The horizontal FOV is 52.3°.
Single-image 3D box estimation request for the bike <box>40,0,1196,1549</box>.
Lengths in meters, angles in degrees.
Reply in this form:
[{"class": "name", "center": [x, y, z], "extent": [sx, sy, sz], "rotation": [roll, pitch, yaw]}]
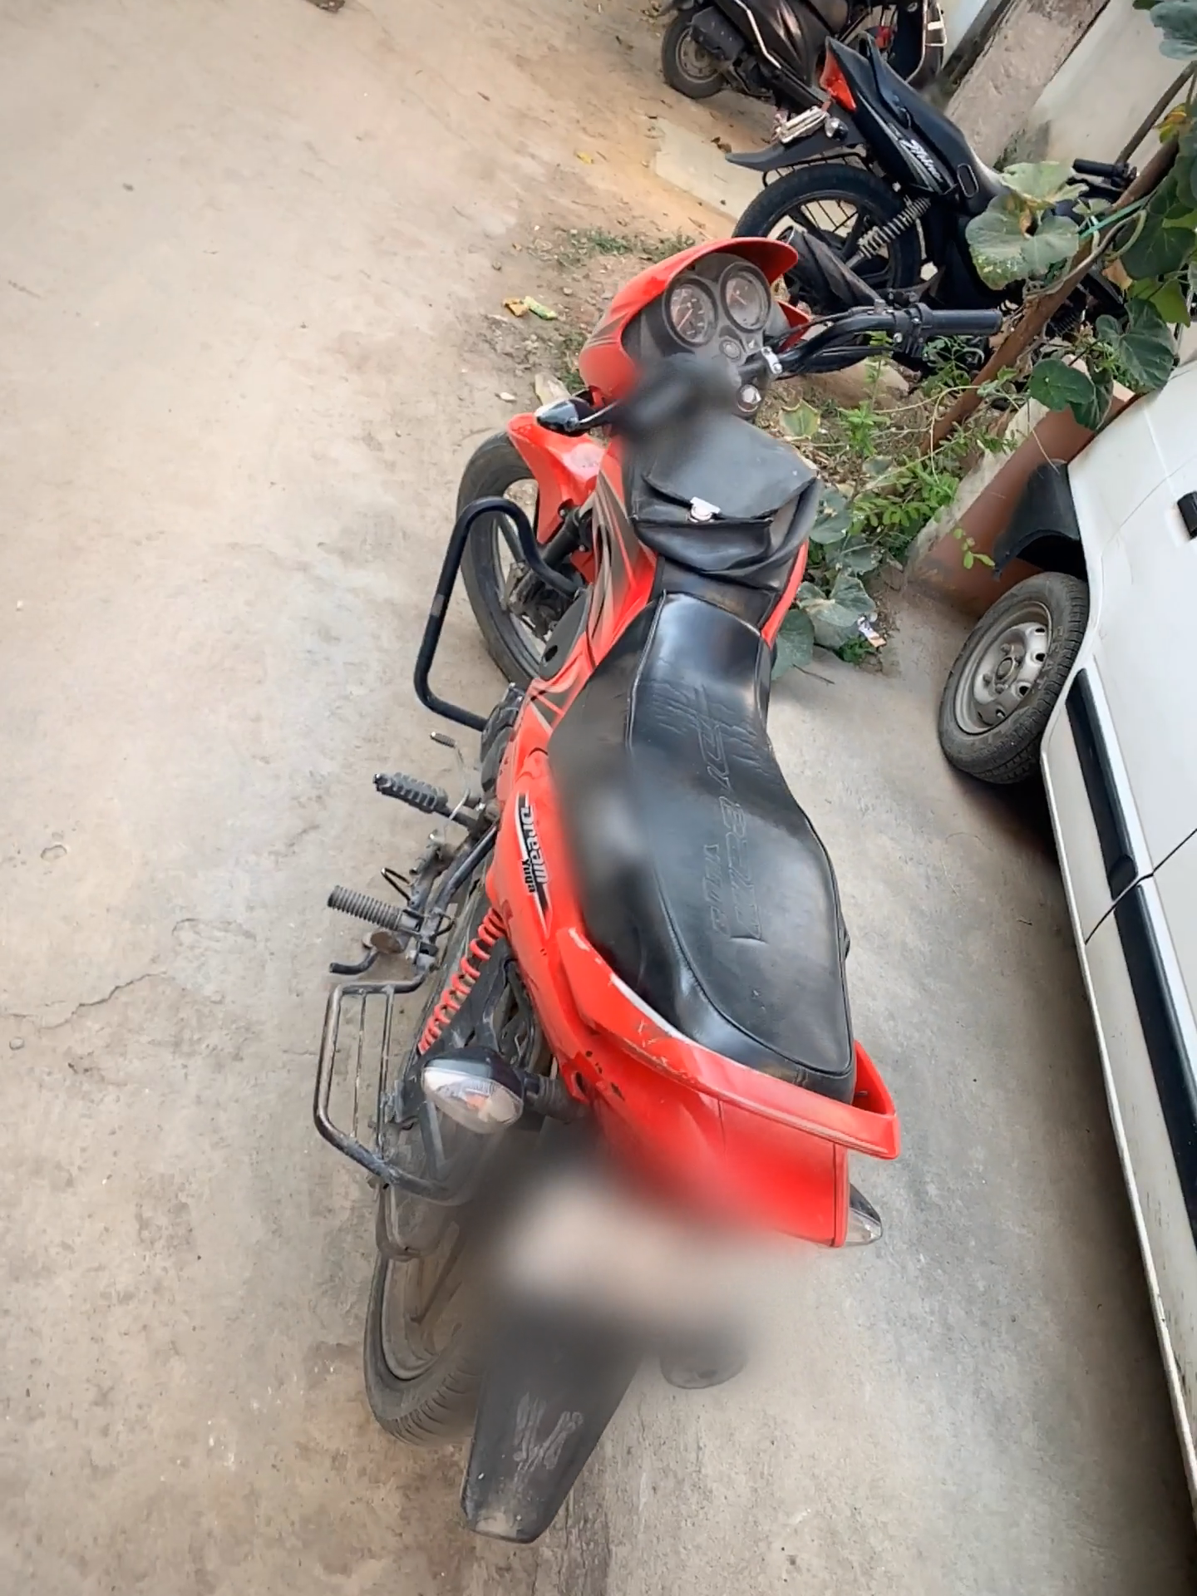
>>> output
[{"class": "bike", "center": [-0.066, -0.131, 1.660], "extent": [0.759, 1.092, 1.714], "rotation": [18, 43, -21]}]
